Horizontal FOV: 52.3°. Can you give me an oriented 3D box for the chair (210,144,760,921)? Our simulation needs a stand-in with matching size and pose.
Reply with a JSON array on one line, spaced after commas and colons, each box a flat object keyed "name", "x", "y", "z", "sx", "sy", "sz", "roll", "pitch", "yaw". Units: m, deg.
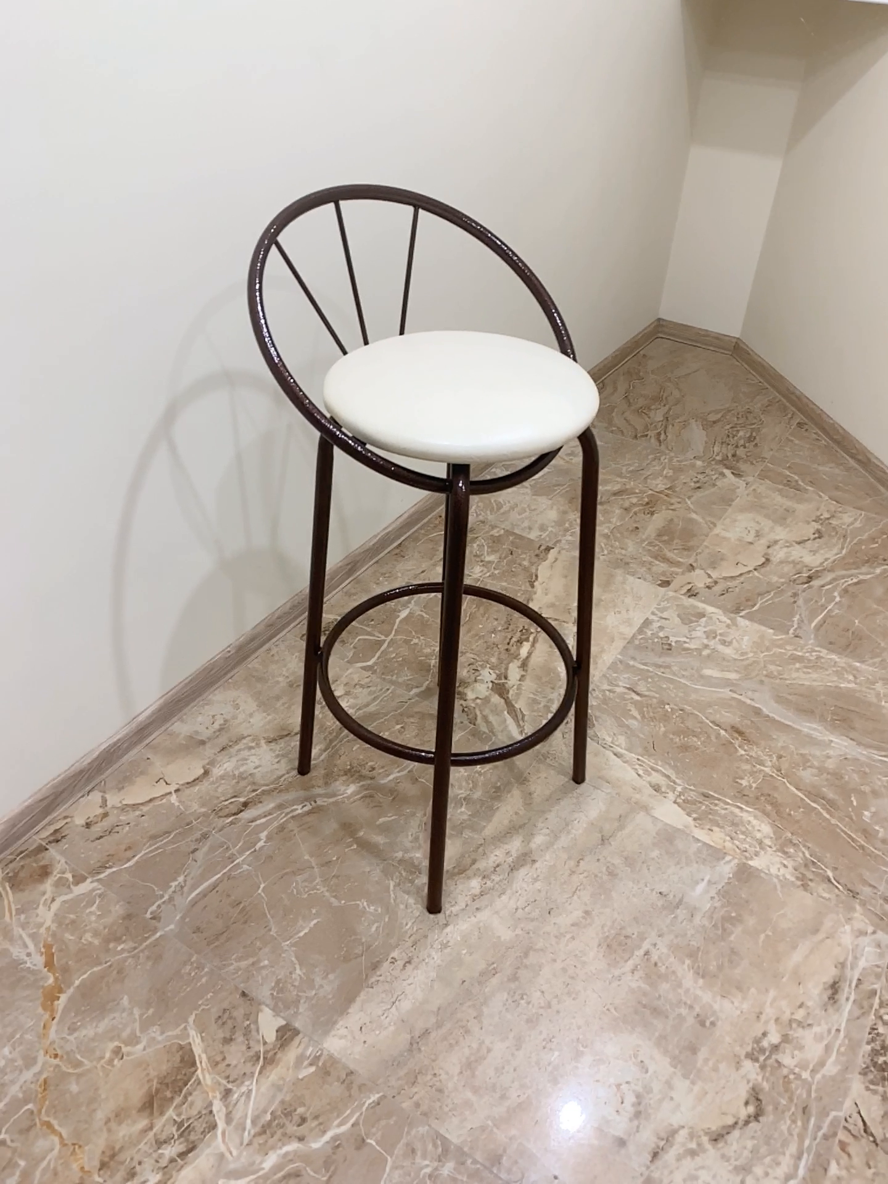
[{"name": "chair", "x": 0.030, "y": -0.067, "z": 1.179, "sx": 0.401, "sy": 0.835, "sz": 0.401, "roll": 31, "pitch": 46, "yaw": 33}]
